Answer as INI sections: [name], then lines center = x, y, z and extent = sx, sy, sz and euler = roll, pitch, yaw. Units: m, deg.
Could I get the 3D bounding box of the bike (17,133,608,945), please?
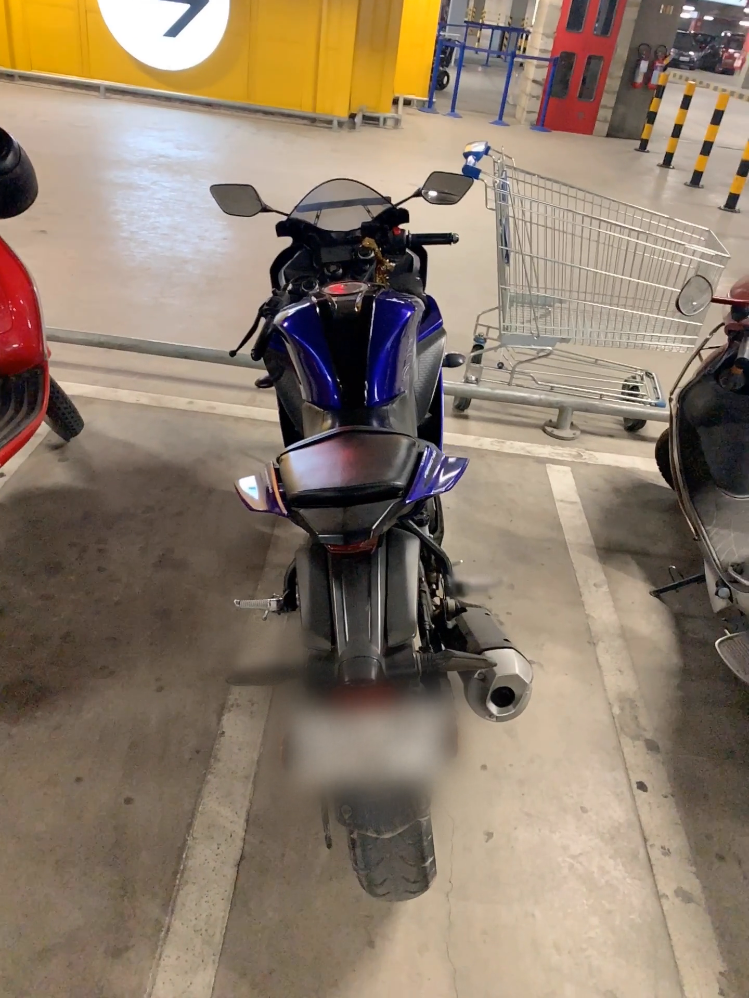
[bike]
center = -0.290, -0.090, 1.779
extent = 0.687, 0.933, 1.657
euler = -1, 37, -13
